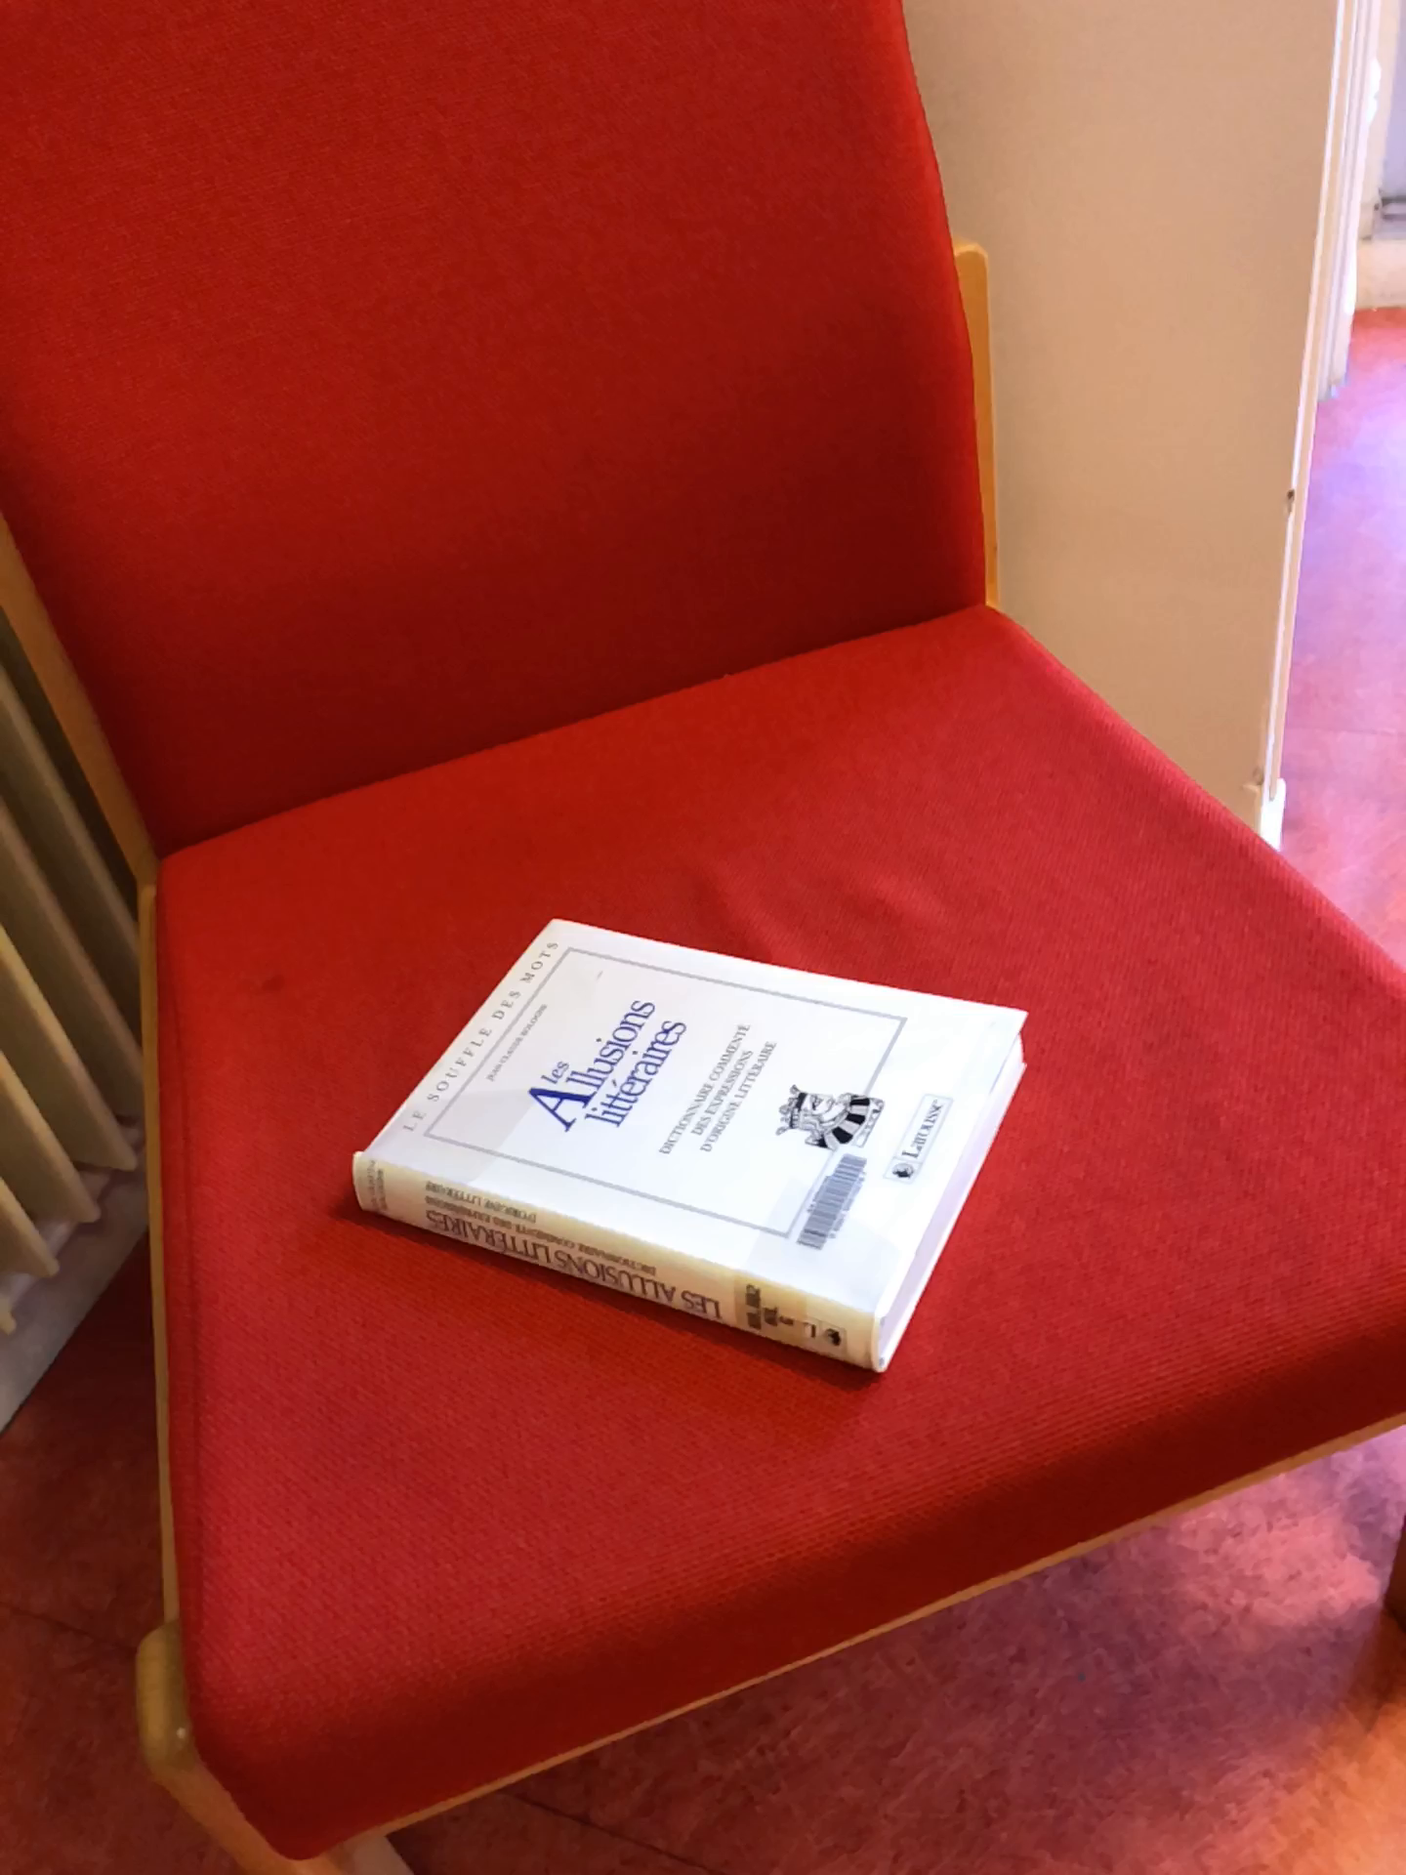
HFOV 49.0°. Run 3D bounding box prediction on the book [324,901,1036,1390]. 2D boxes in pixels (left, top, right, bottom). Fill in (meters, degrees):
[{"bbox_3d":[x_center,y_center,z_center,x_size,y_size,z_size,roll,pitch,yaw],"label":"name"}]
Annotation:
[{"bbox_3d":[-0.006,0.063,0.570,0.217,0.030,0.151,11,45,25],"label":"book"}]
